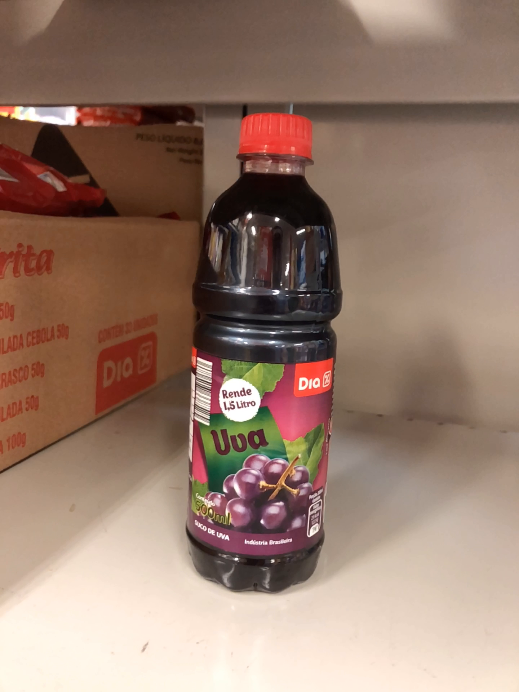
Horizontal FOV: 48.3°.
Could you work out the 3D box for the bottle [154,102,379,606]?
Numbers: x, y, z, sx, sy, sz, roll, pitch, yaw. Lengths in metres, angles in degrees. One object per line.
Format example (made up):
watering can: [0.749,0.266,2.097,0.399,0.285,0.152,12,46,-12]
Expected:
bottle: [0.001,0.004,0.260,0.080,0.199,0.070,2,12,2]
